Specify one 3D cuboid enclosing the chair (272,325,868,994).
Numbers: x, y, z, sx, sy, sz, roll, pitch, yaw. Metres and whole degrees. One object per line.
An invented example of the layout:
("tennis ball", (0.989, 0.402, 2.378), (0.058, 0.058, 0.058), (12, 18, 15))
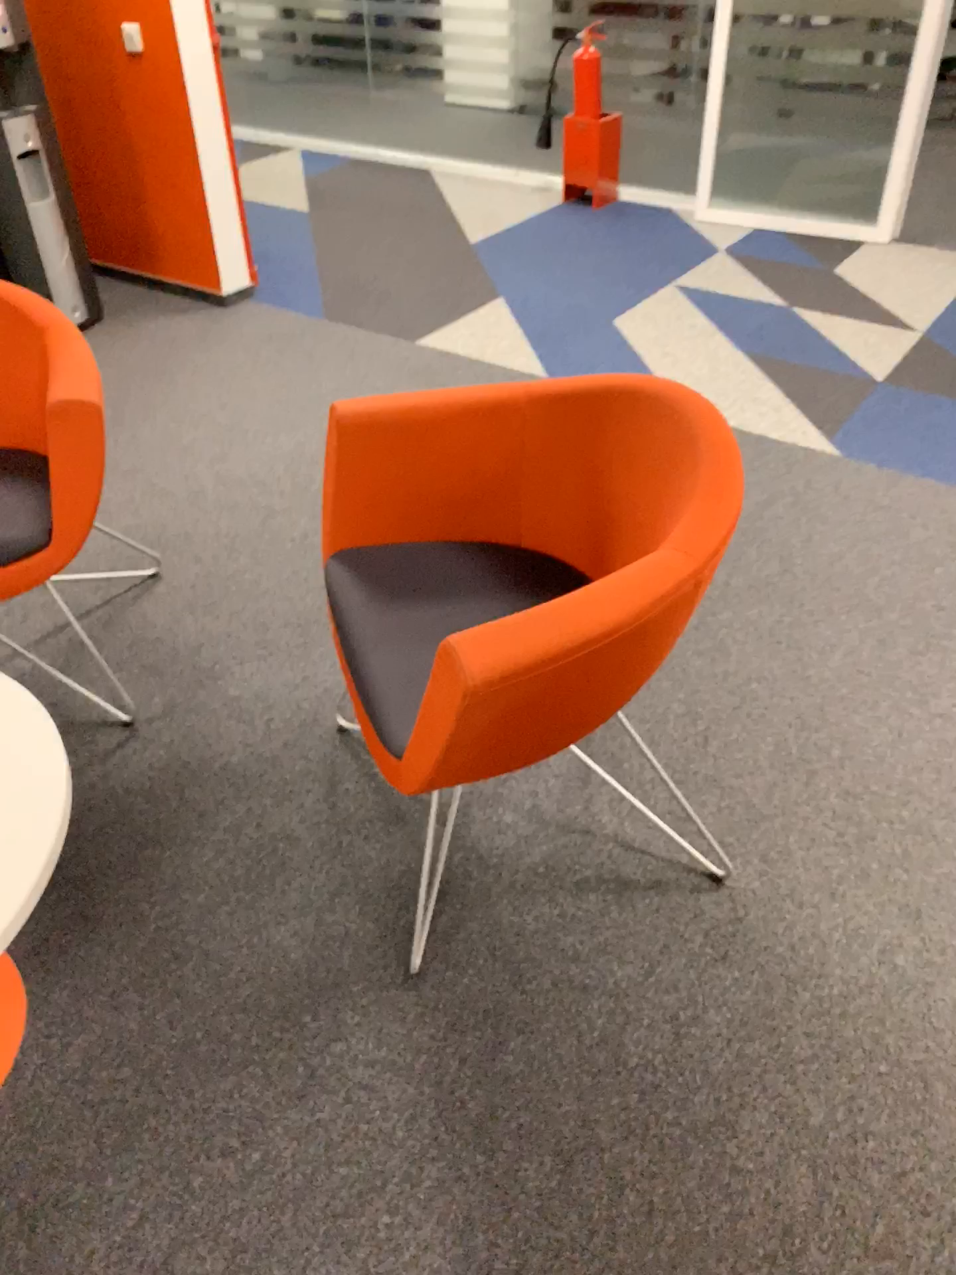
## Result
("chair", (0.081, 0.003, 1.564), (0.620, 0.706, 0.643), (-12, 39, -13))
